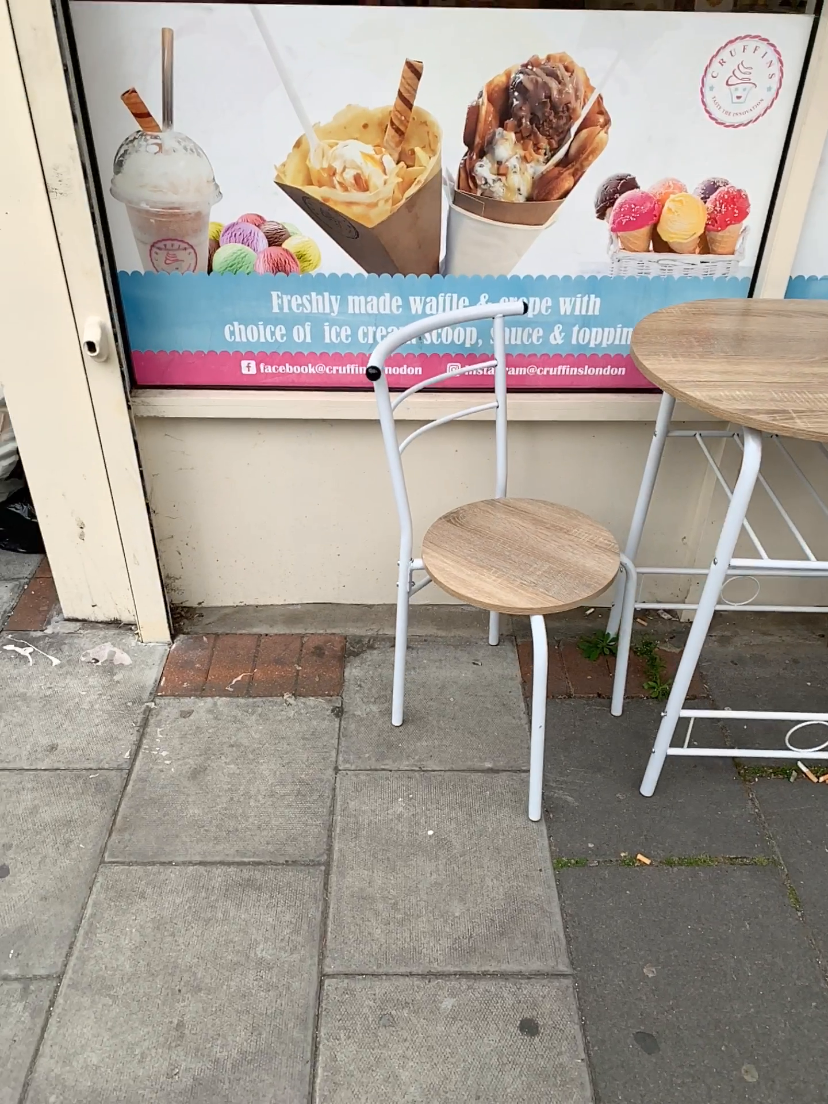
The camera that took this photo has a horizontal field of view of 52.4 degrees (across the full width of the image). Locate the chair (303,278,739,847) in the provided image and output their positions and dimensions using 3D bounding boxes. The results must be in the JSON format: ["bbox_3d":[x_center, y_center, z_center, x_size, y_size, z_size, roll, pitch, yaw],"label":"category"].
[{"bbox_3d":[0.182,-0.012,1.532,0.502,0.752,0.534,20,38,26],"label":"chair"}]
